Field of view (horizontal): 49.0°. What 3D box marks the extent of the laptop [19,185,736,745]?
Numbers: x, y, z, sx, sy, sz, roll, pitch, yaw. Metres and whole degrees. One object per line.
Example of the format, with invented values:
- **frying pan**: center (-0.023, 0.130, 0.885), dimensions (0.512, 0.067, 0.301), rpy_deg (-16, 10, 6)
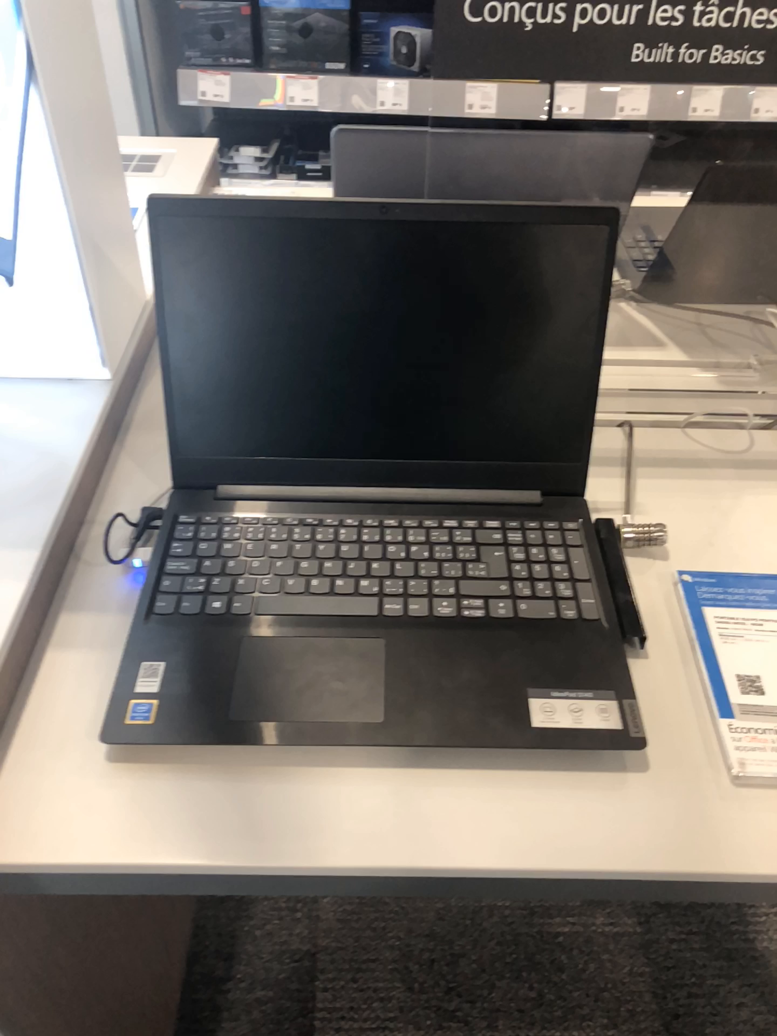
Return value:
- **laptop**: center (-0.007, -0.050, 0.594), dimensions (0.345, 0.213, 0.324), rpy_deg (1, 45, 0)
